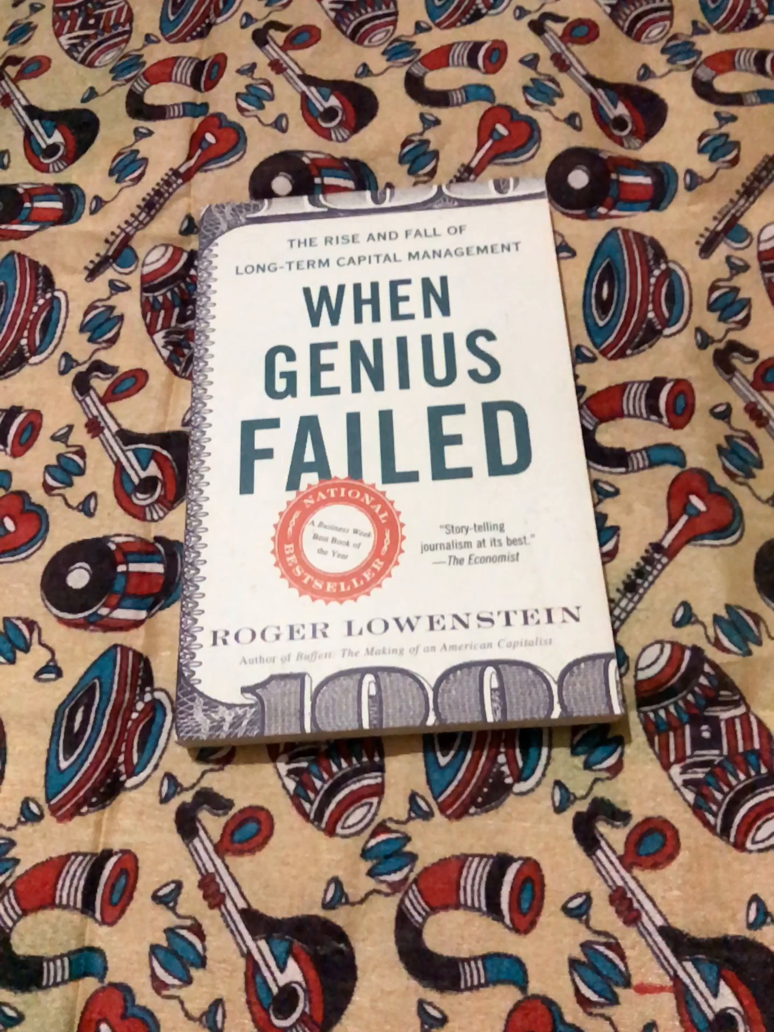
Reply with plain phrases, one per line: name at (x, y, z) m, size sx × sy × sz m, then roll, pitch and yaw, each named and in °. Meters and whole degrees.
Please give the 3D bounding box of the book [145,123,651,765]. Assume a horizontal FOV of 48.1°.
book at (-0.002, -0.035, 0.296) m, size 0.140 × 0.030 × 0.220 m, roll -4°, pitch 67°, yaw 1°
